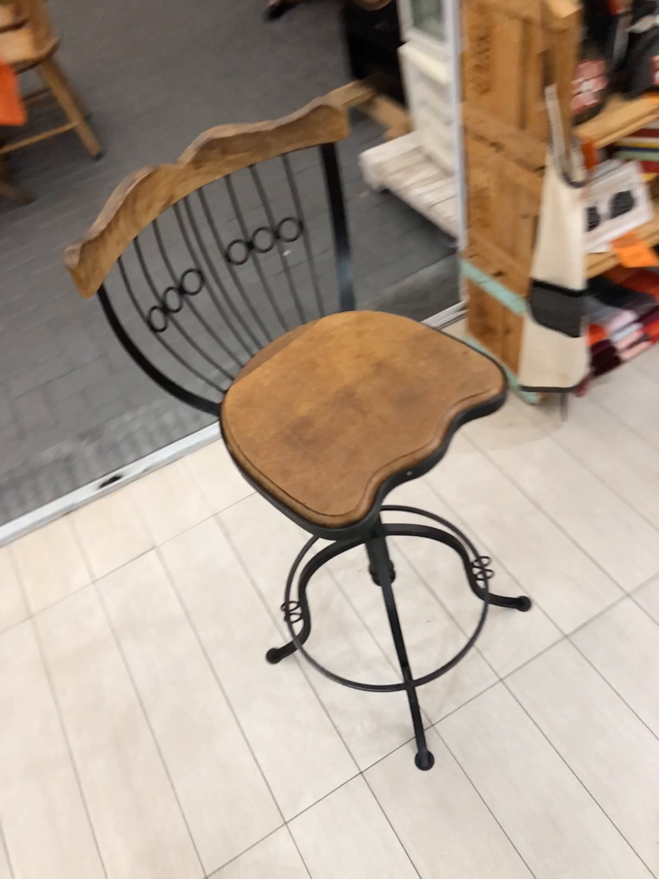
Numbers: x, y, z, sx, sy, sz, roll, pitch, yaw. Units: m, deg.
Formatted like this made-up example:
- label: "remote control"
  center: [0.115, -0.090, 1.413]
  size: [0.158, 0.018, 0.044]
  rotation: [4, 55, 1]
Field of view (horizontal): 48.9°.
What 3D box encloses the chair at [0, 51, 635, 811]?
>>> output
- label: "chair"
  center: [0.034, 0.043, 1.034]
  size: [0.461, 0.894, 0.472]
  rotation: [-40, 52, -22]
